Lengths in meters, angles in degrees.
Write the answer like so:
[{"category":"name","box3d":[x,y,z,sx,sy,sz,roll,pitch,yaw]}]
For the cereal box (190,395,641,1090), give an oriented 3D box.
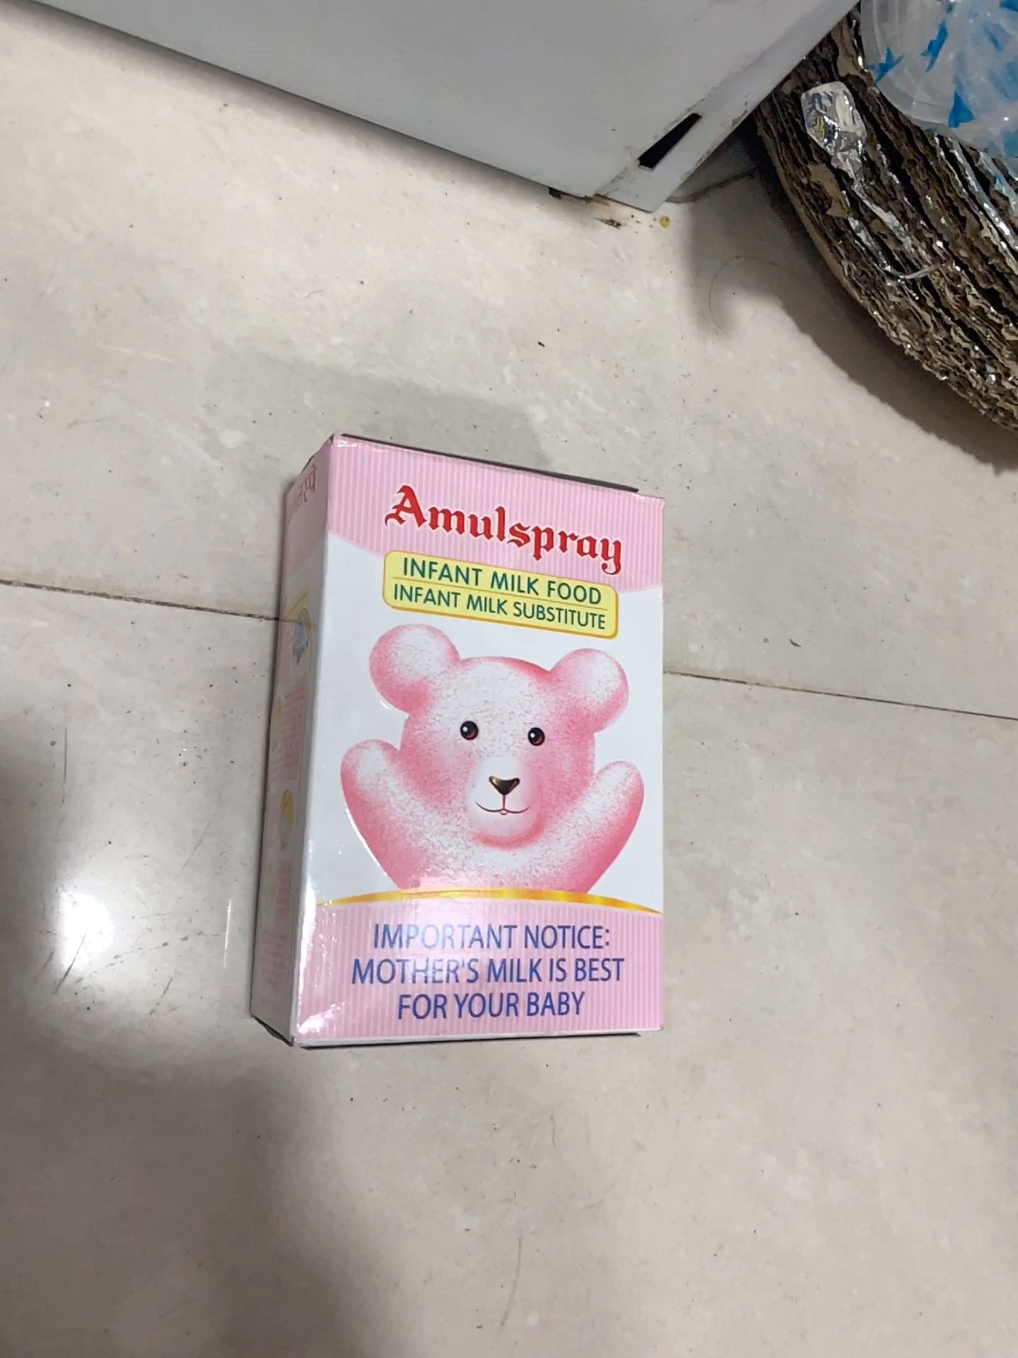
[{"category":"cereal box","box3d":[-0.020,0.017,0.250,0.090,0.050,0.140,6,78,-23]}]
